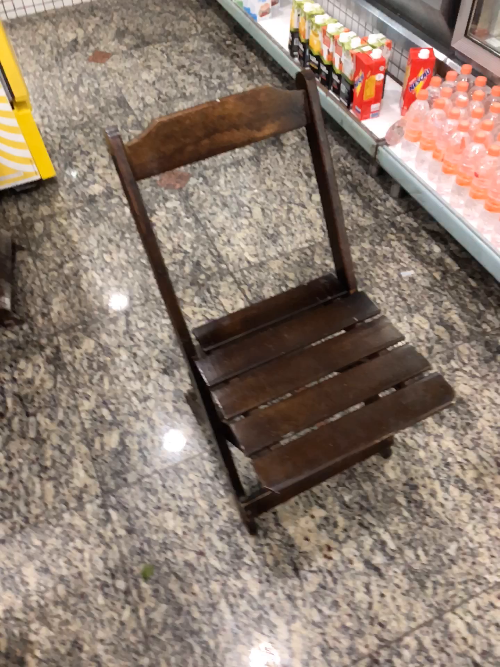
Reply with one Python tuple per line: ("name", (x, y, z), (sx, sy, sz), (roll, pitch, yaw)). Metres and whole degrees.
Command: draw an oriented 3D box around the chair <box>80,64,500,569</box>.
("chair", (0.058, -0.006, 1.077), (0.440, 0.706, 0.553), (-23, 54, -15))
